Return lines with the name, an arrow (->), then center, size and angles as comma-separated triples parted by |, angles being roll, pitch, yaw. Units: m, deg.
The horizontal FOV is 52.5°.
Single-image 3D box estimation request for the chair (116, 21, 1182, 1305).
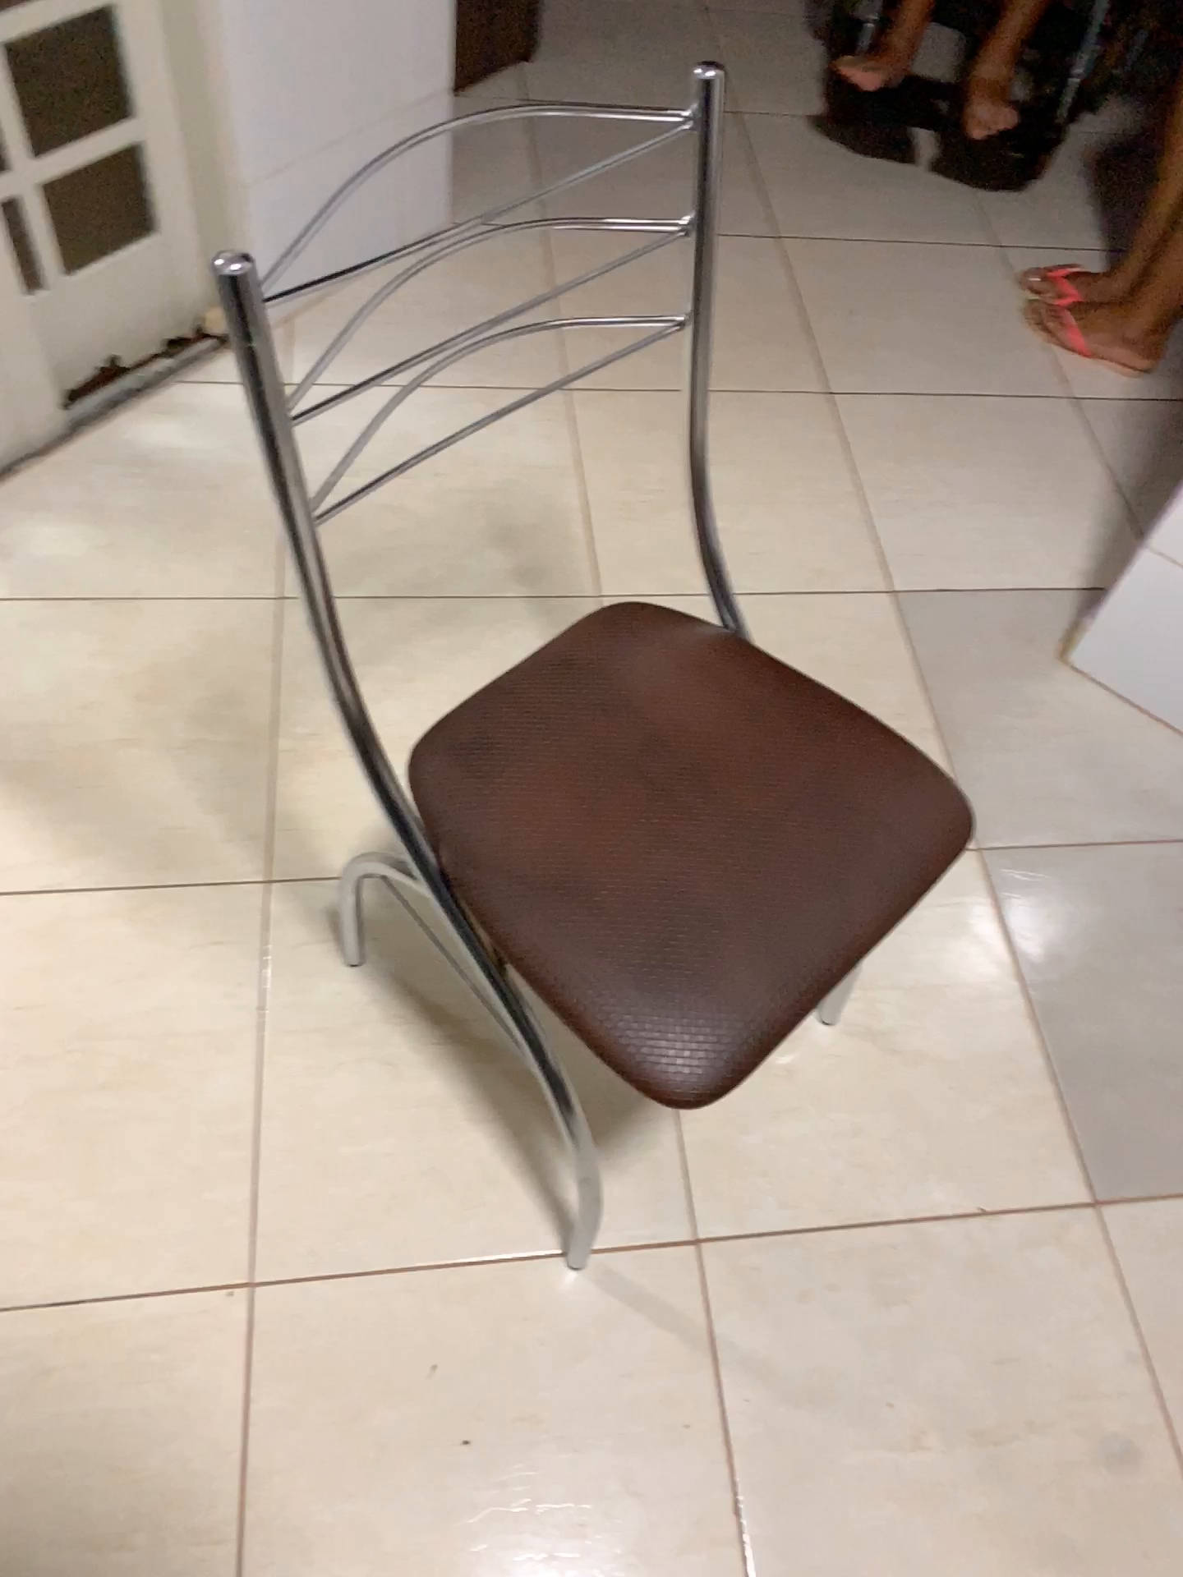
chair -> 0.023, -0.010, 0.986 | 0.420, 0.872, 0.484 | -36, 67, -27
